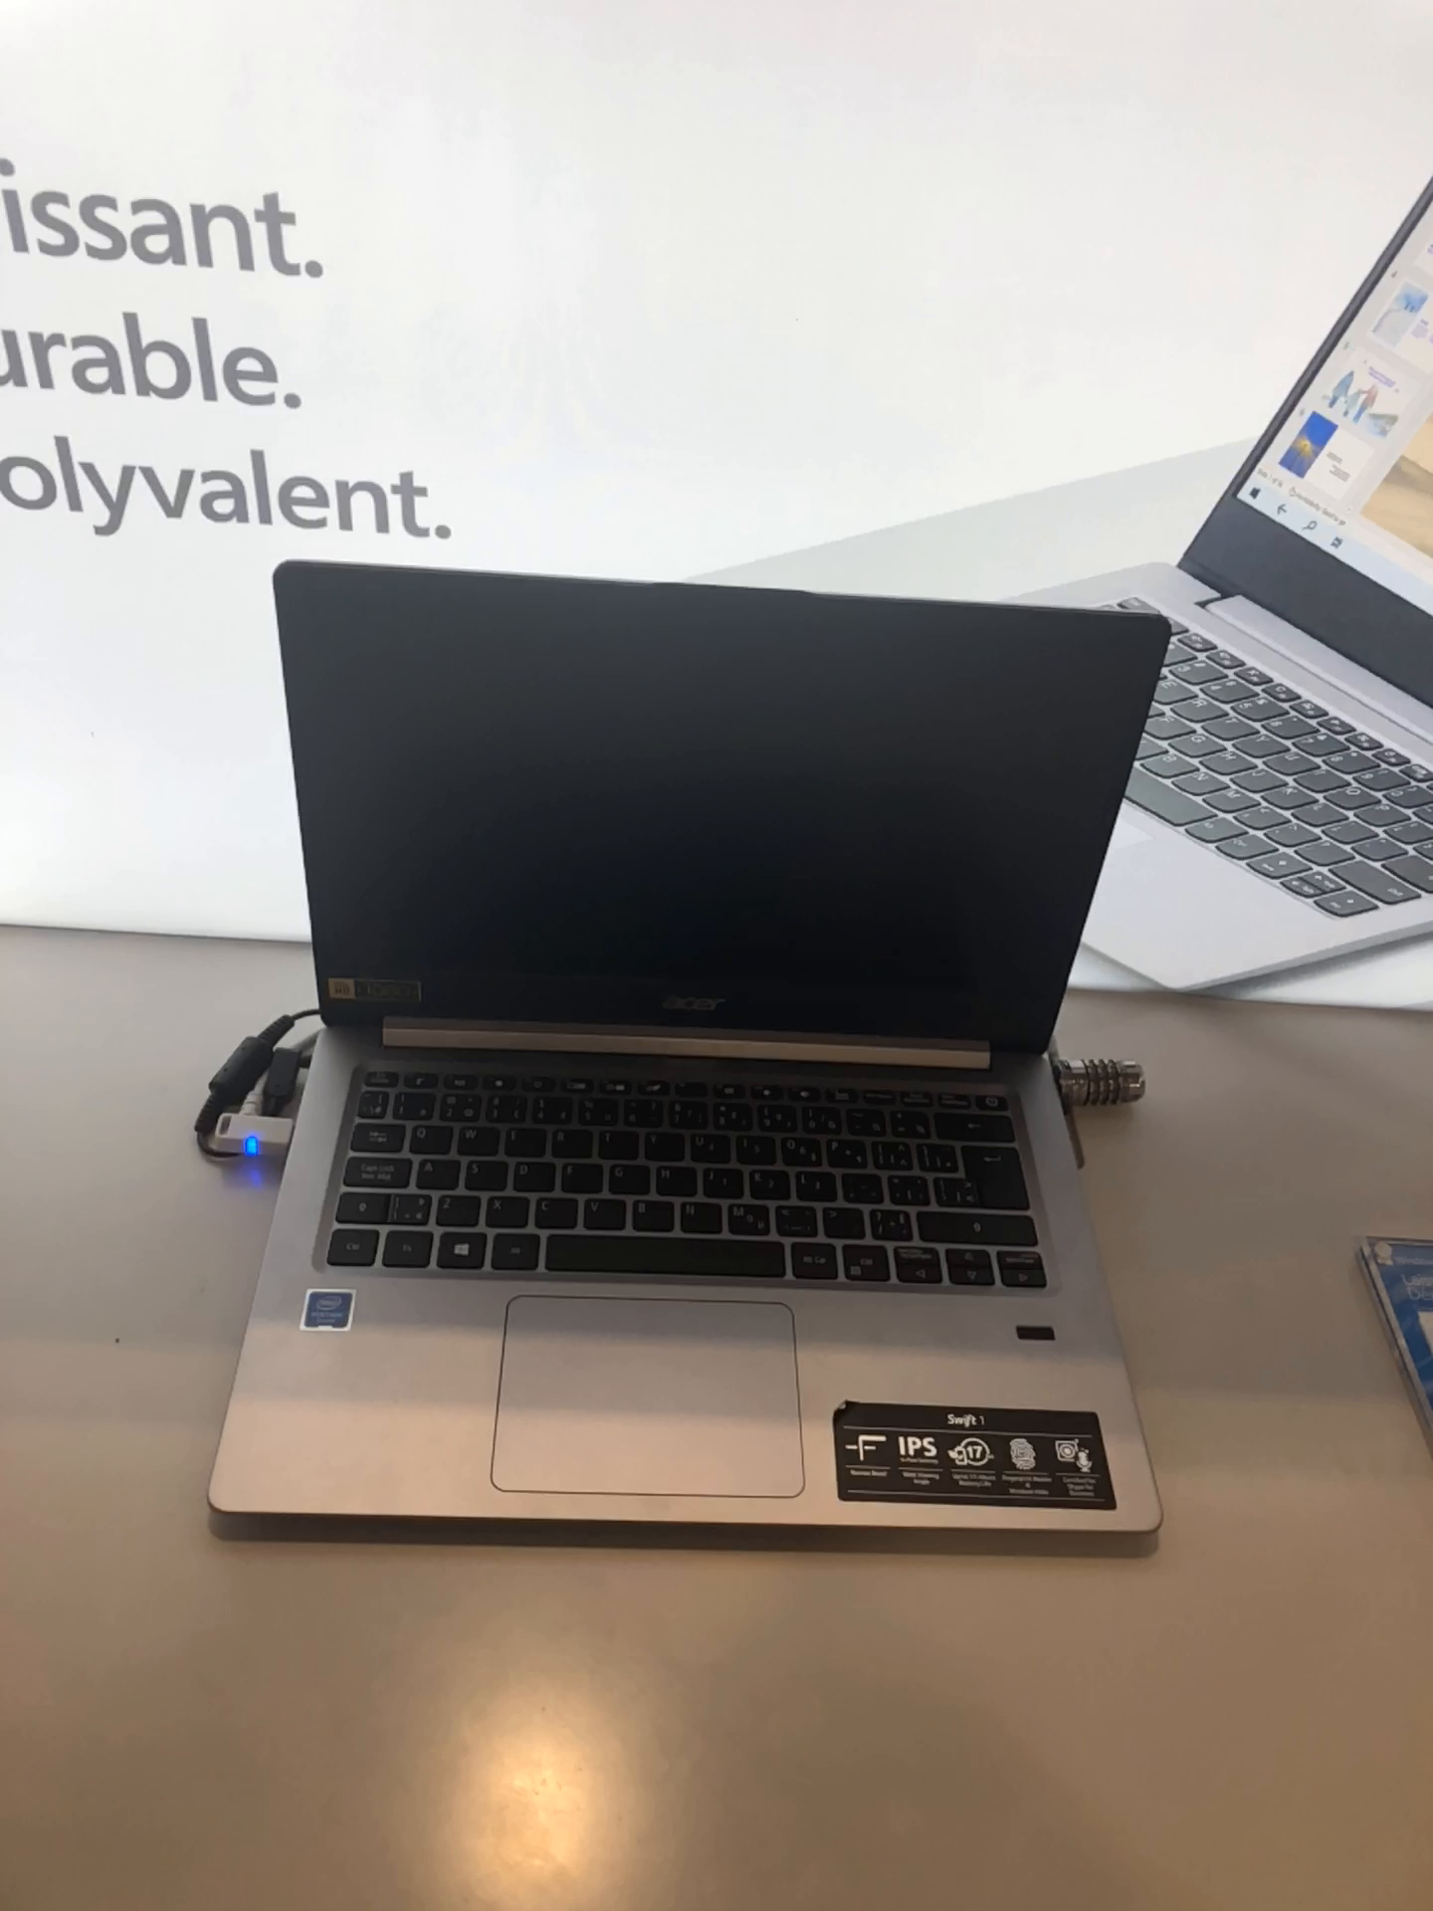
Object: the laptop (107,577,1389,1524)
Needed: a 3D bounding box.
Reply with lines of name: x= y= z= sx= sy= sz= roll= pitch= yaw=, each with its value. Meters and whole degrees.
laptop: x=0.001 y=0.030 z=0.534 sx=0.311 sy=0.210 sz=0.227 roll=3 pitch=41 yaw=-4
